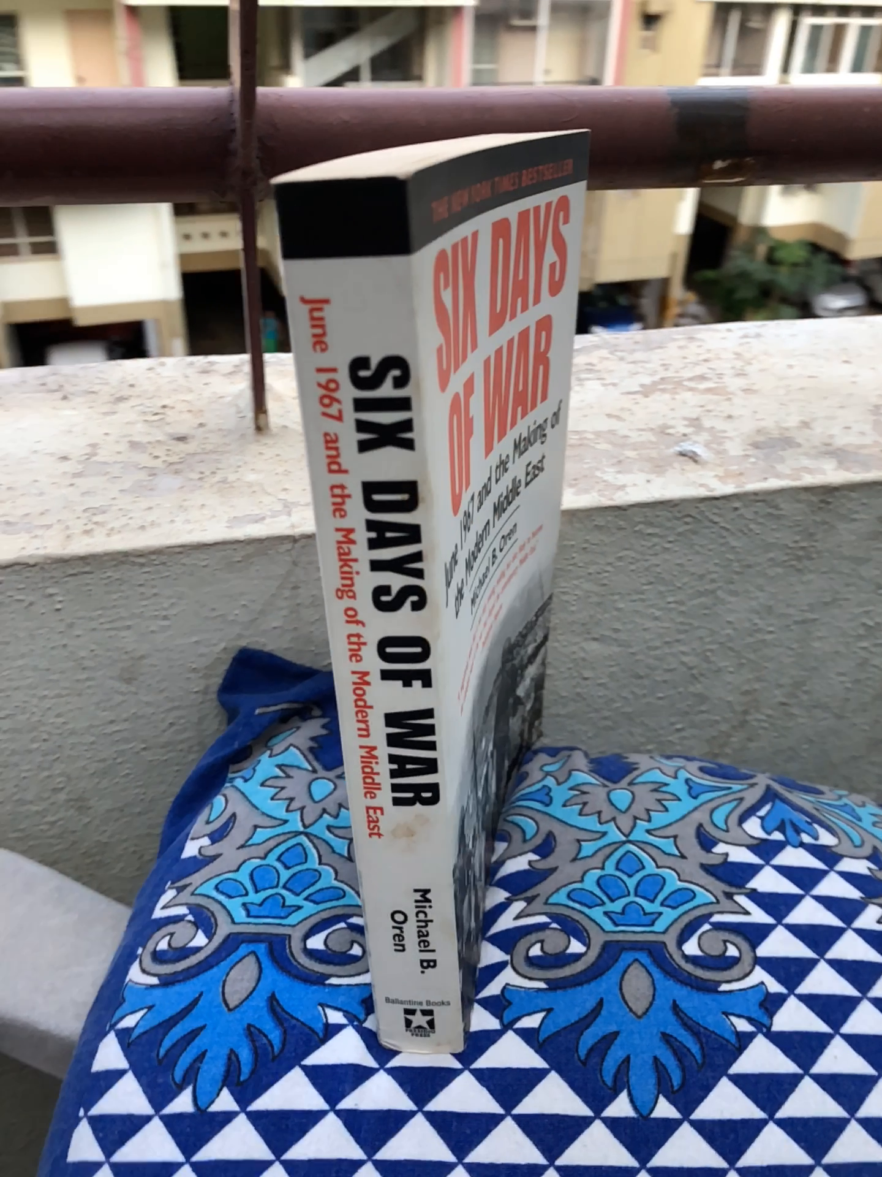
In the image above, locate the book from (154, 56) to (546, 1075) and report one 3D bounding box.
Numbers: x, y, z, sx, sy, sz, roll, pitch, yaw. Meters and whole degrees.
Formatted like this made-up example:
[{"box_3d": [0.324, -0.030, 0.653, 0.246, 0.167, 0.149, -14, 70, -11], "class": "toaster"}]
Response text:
[{"box_3d": [-0.002, -0.013, 0.300, 0.050, 0.249, 0.181, 3, 33, 10], "class": "book"}]
